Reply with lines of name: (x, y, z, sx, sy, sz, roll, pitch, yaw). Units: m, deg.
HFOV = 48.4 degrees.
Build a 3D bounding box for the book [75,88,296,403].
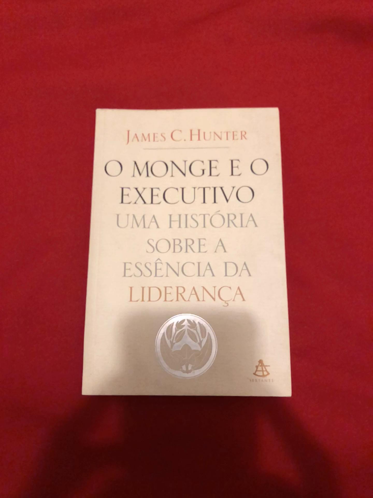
book: (0.001, -0.008, 0.301, 0.140, 0.030, 0.220, 1, 77, 0)
